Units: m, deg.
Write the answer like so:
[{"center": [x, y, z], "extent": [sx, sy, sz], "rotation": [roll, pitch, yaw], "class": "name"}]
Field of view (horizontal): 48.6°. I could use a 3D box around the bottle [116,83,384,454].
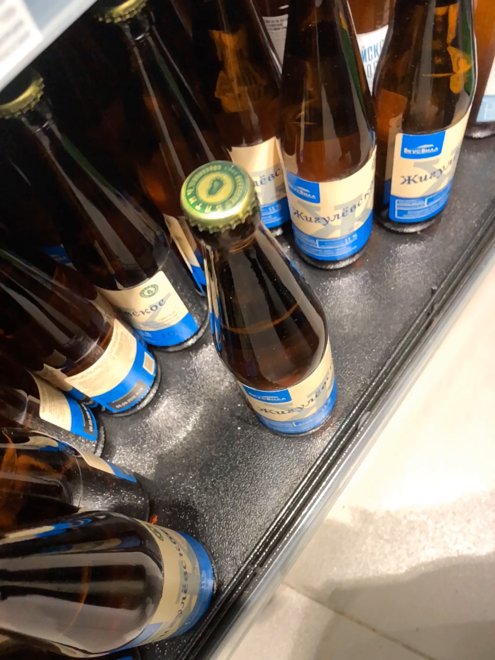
[{"center": [0.018, -0.002, 0.308], "extent": [0.070, 0.249, 0.070], "rotation": [-4, 66, 8], "class": "bottle"}]
